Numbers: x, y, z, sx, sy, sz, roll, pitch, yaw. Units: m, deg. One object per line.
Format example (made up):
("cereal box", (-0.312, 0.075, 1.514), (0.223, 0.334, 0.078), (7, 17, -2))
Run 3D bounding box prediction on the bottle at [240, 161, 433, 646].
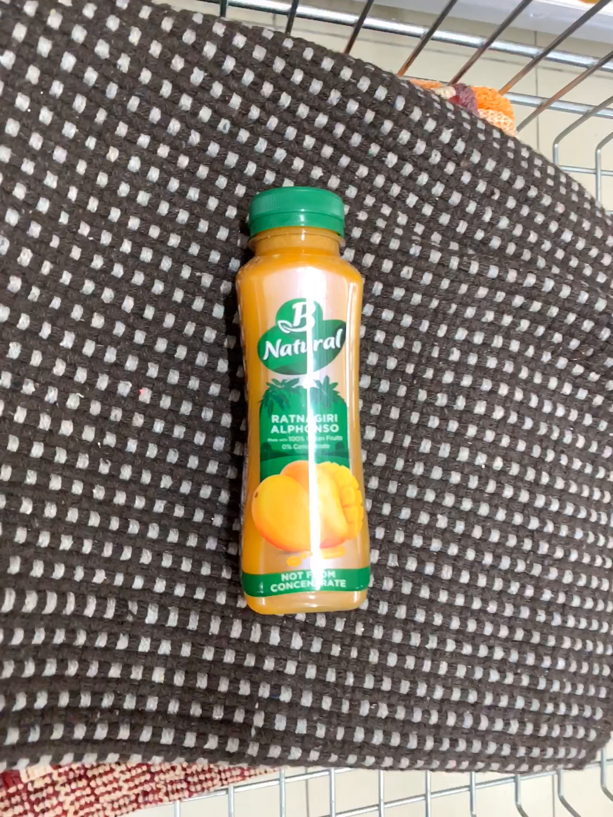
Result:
("bottle", (0.008, -0.001, 0.239), (0.060, 0.050, 0.160), (1, 91, -11))
